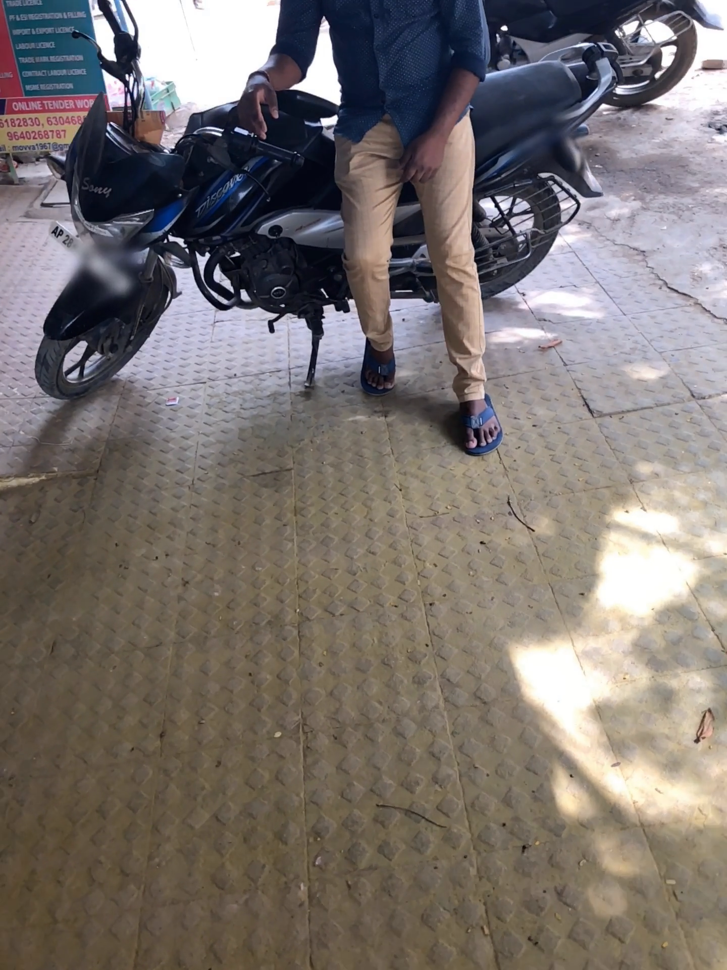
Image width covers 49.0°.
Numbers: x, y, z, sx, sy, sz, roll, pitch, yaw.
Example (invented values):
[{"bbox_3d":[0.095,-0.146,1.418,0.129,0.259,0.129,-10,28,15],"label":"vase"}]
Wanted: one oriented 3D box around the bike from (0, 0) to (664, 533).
[{"bbox_3d":[-0.161,-0.815,2.333,1.744,1.175,0.787,-19,39,-9],"label":"bike"}]
